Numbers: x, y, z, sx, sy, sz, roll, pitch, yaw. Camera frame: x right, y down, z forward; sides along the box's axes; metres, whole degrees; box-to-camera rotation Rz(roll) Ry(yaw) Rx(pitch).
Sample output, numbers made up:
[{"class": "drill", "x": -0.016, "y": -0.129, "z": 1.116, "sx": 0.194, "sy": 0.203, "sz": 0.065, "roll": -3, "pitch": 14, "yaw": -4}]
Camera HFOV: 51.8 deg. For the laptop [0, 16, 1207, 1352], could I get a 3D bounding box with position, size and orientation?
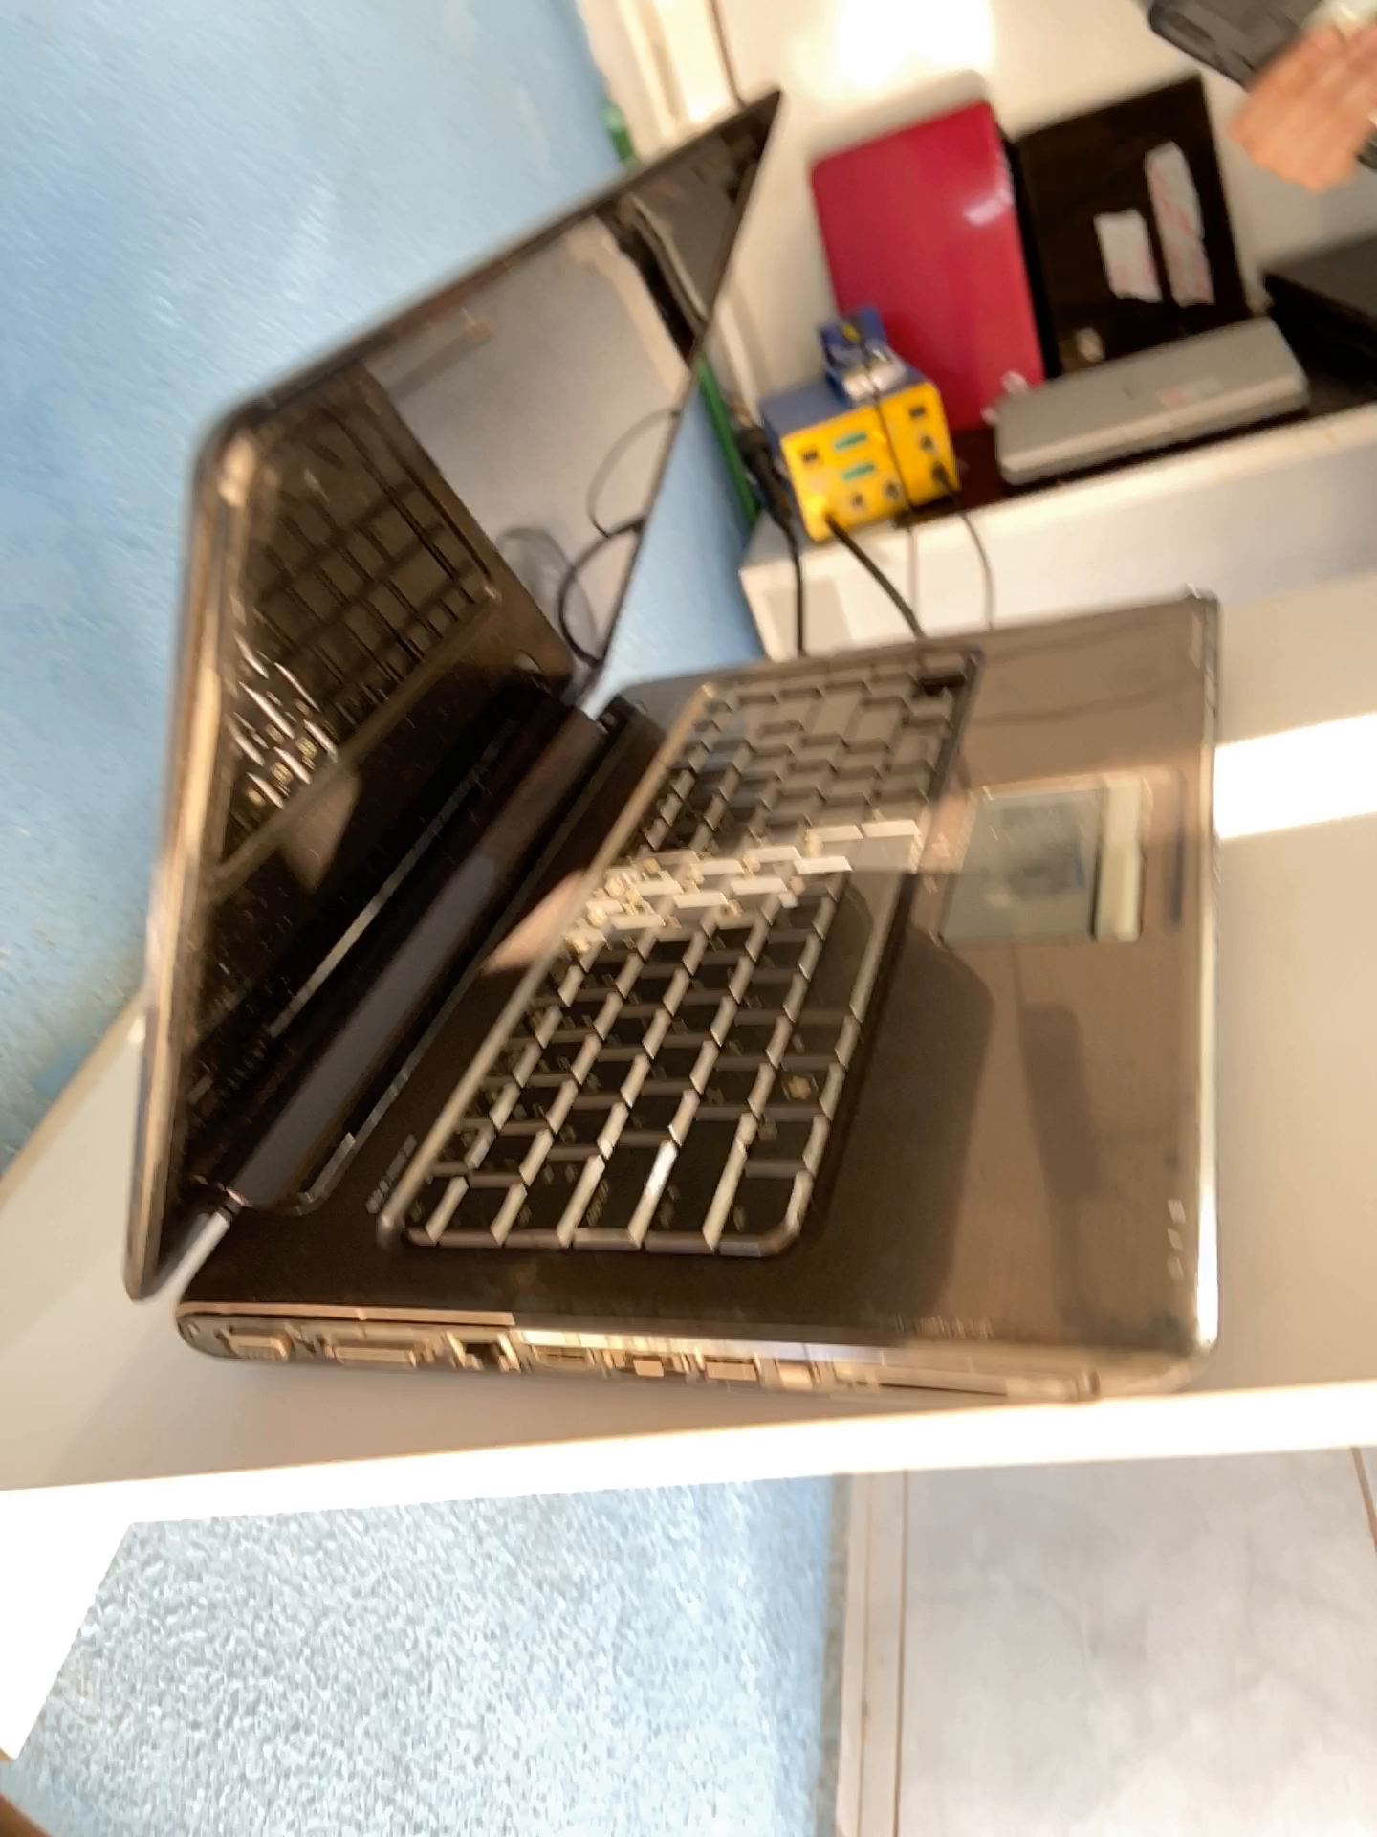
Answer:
[{"class": "laptop", "x": -0.003, "y": -0.088, "z": 0.397, "sx": 0.244, "sy": 0.190, "sz": 0.346, "roll": -6, "pitch": 33, "yaw": 25}]
